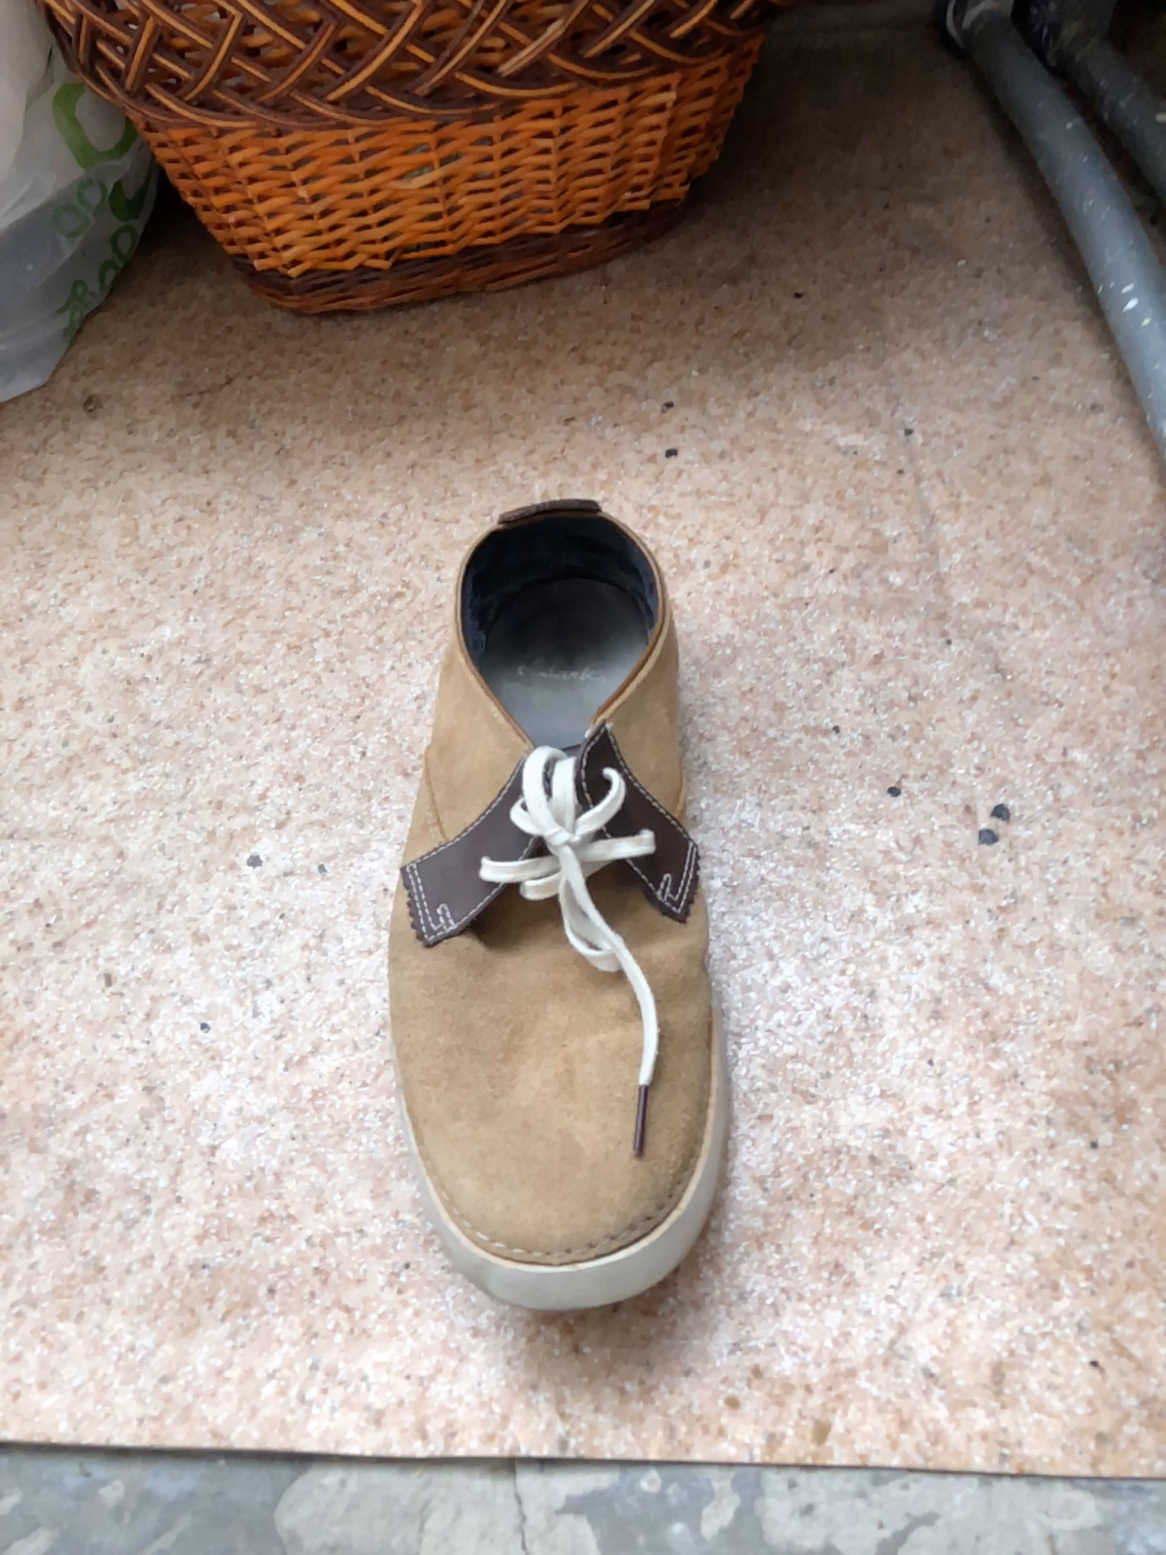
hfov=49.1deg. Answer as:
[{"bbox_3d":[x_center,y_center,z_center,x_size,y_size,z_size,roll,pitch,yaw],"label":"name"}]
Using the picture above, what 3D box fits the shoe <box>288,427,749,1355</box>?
[{"bbox_3d":[-0.010,0.022,0.430,0.110,0.090,0.302,-4,54,6],"label":"shoe"}]
